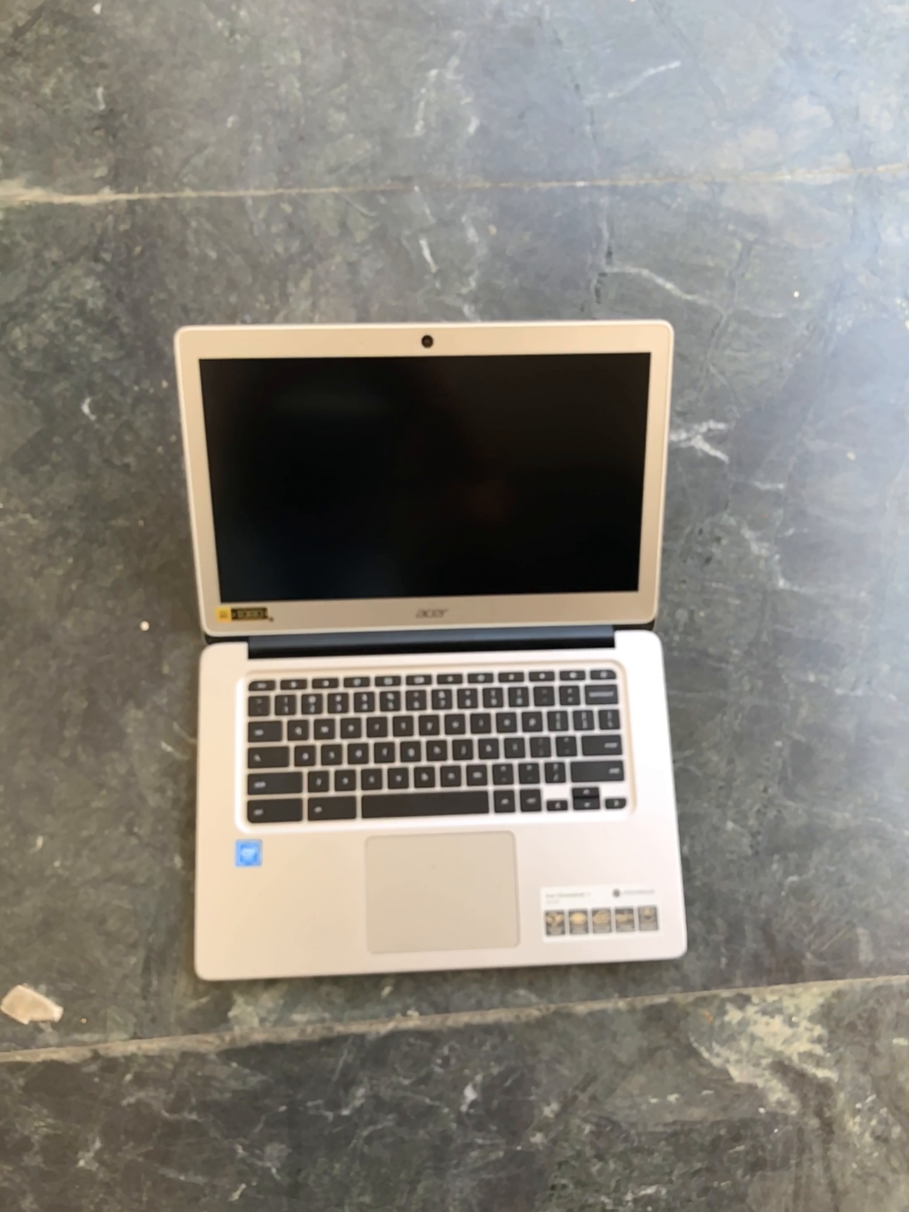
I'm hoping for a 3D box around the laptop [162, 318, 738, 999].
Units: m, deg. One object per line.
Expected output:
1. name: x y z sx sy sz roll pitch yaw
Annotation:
1. laptop: -0.011 0.028 0.694 0.338 0.117 0.424 -2 77 -3
